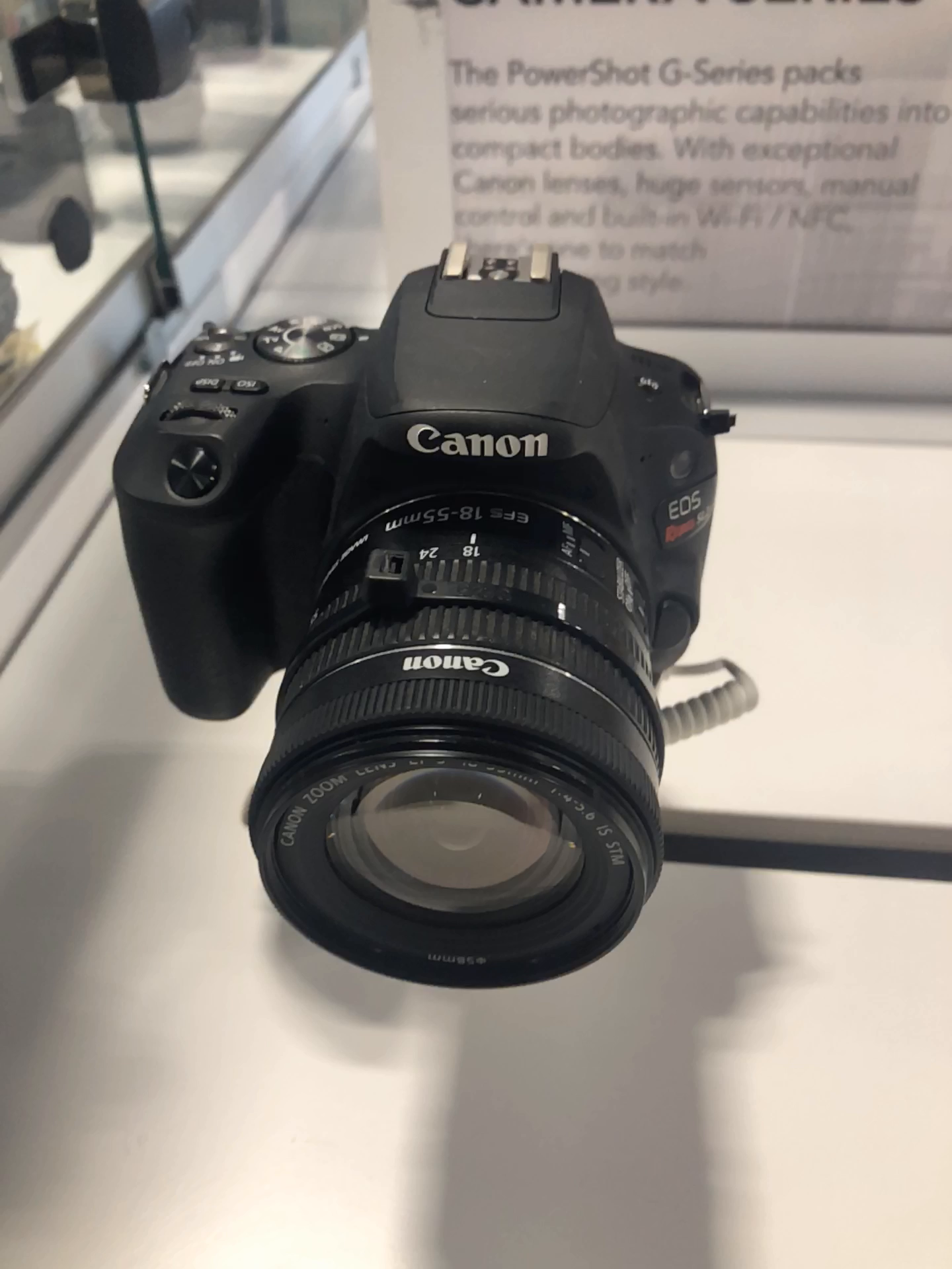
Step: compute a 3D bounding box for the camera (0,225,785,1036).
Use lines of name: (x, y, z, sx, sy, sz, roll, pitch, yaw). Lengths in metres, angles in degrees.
camera: (-0.018, -0.007, 0.201, 0.122, 0.099, 0.111, 2, 41, 6)
